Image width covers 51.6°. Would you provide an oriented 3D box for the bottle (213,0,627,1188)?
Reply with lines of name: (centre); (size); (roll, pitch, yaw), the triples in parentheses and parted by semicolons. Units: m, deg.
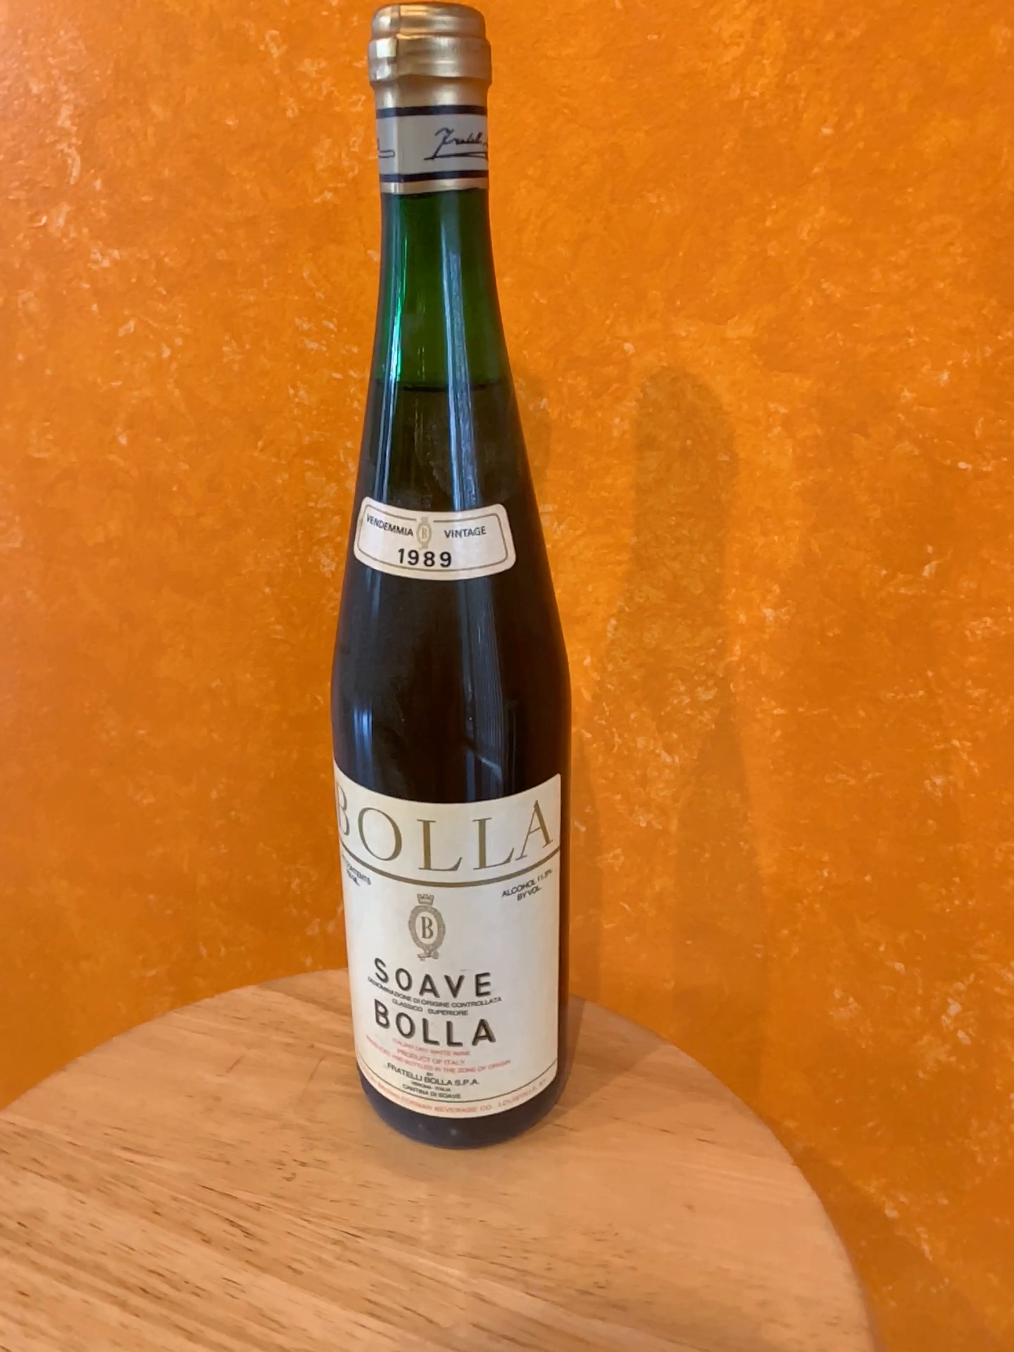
bottle: (-0.015, -0.008, 0.314); (0.080, 0.338, 0.070); (5, 23, 13)
